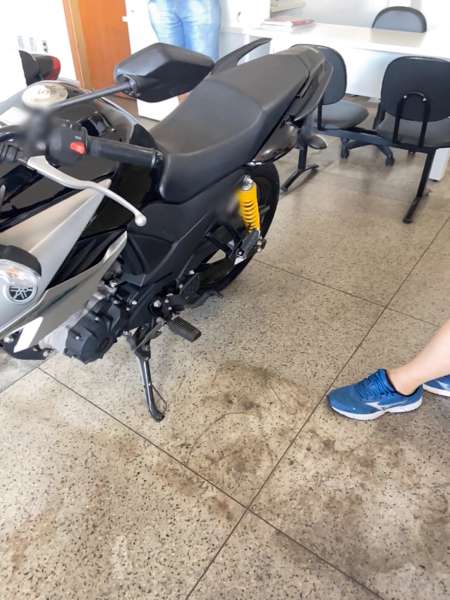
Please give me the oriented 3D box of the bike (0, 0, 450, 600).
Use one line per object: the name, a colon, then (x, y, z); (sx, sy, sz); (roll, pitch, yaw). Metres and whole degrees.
bike: (-0.145, -0.083, 1.179); (0.816, 1.331, 2.013); (18, 40, 24)
